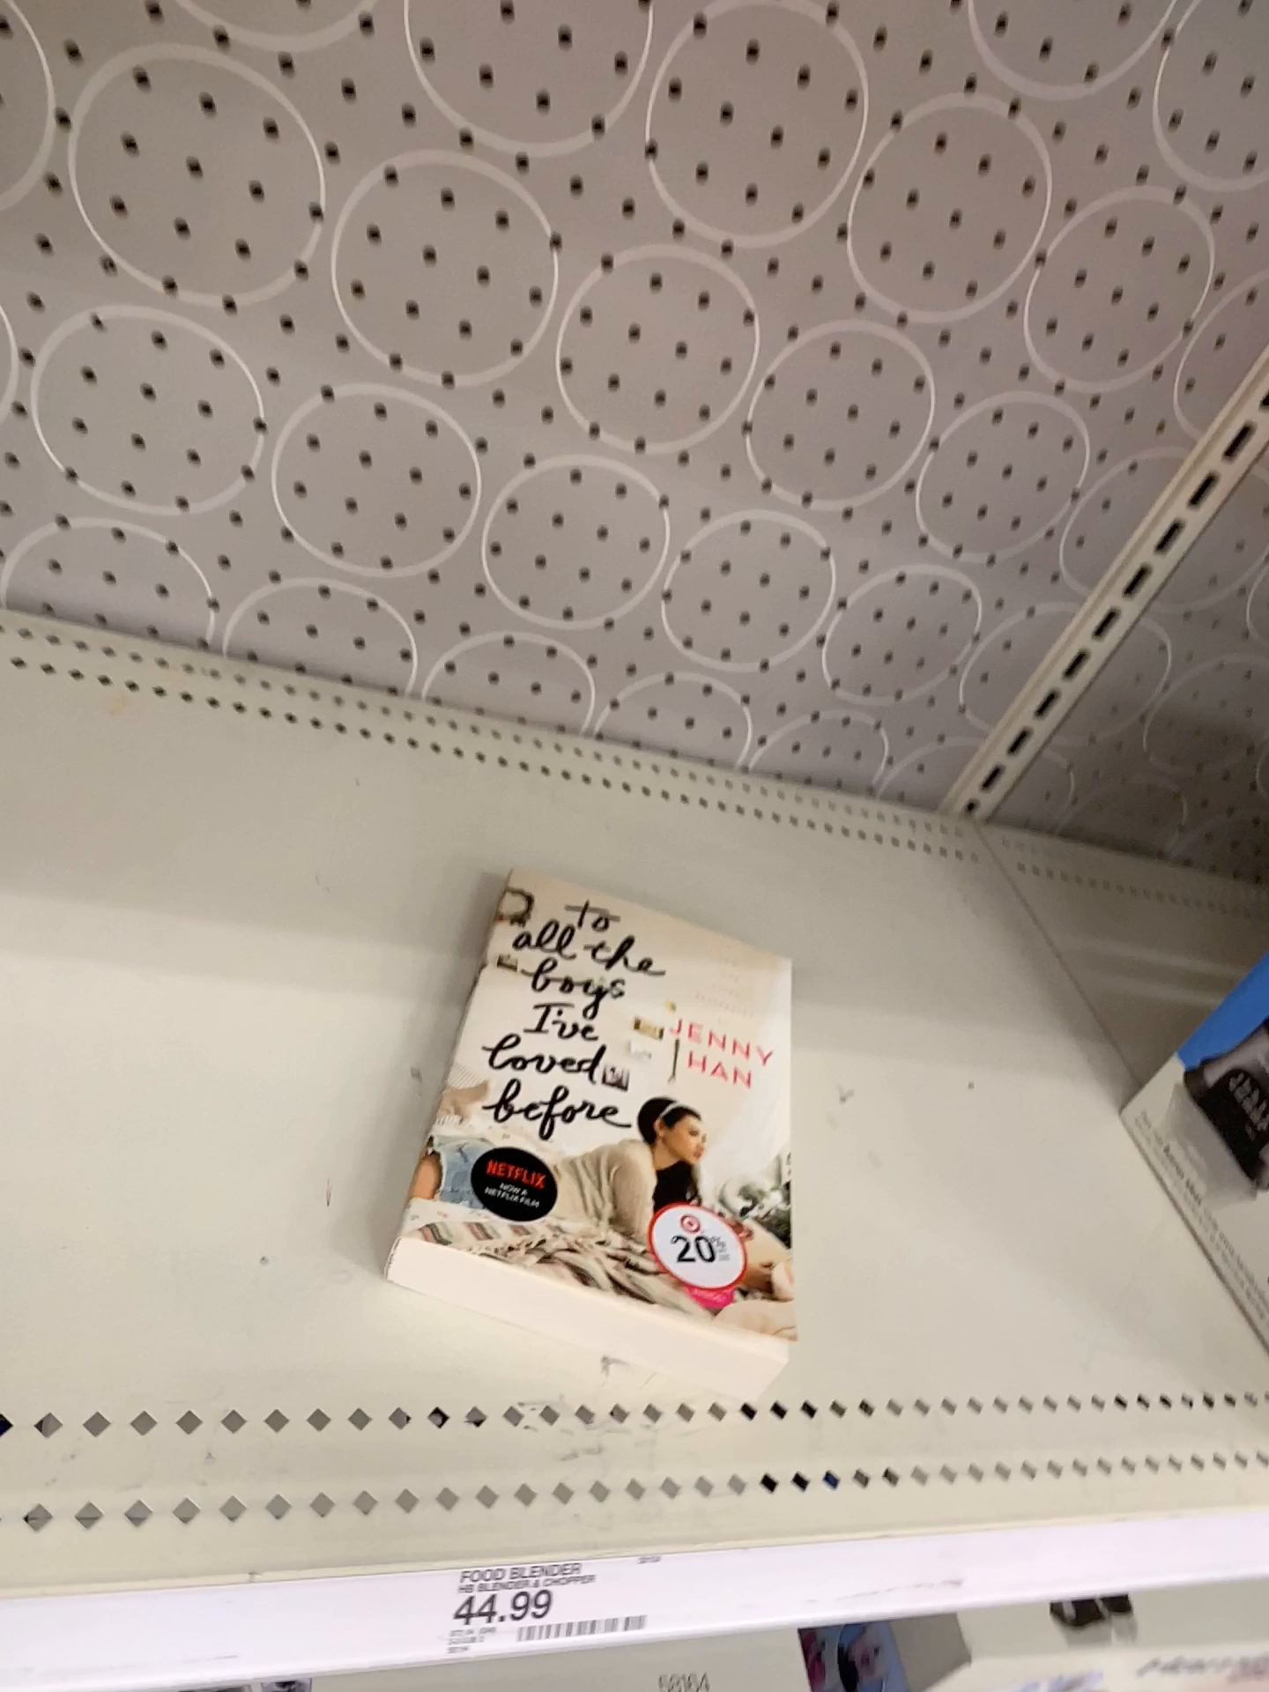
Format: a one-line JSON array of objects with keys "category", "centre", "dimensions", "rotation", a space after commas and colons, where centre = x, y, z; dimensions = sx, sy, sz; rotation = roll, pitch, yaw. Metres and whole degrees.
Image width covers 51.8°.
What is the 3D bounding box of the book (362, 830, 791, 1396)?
[{"category": "book", "centre": [-0.010, 0.094, 0.529], "dimensions": [0.144, 0.034, 0.214], "rotation": [22, 35, -10]}]
